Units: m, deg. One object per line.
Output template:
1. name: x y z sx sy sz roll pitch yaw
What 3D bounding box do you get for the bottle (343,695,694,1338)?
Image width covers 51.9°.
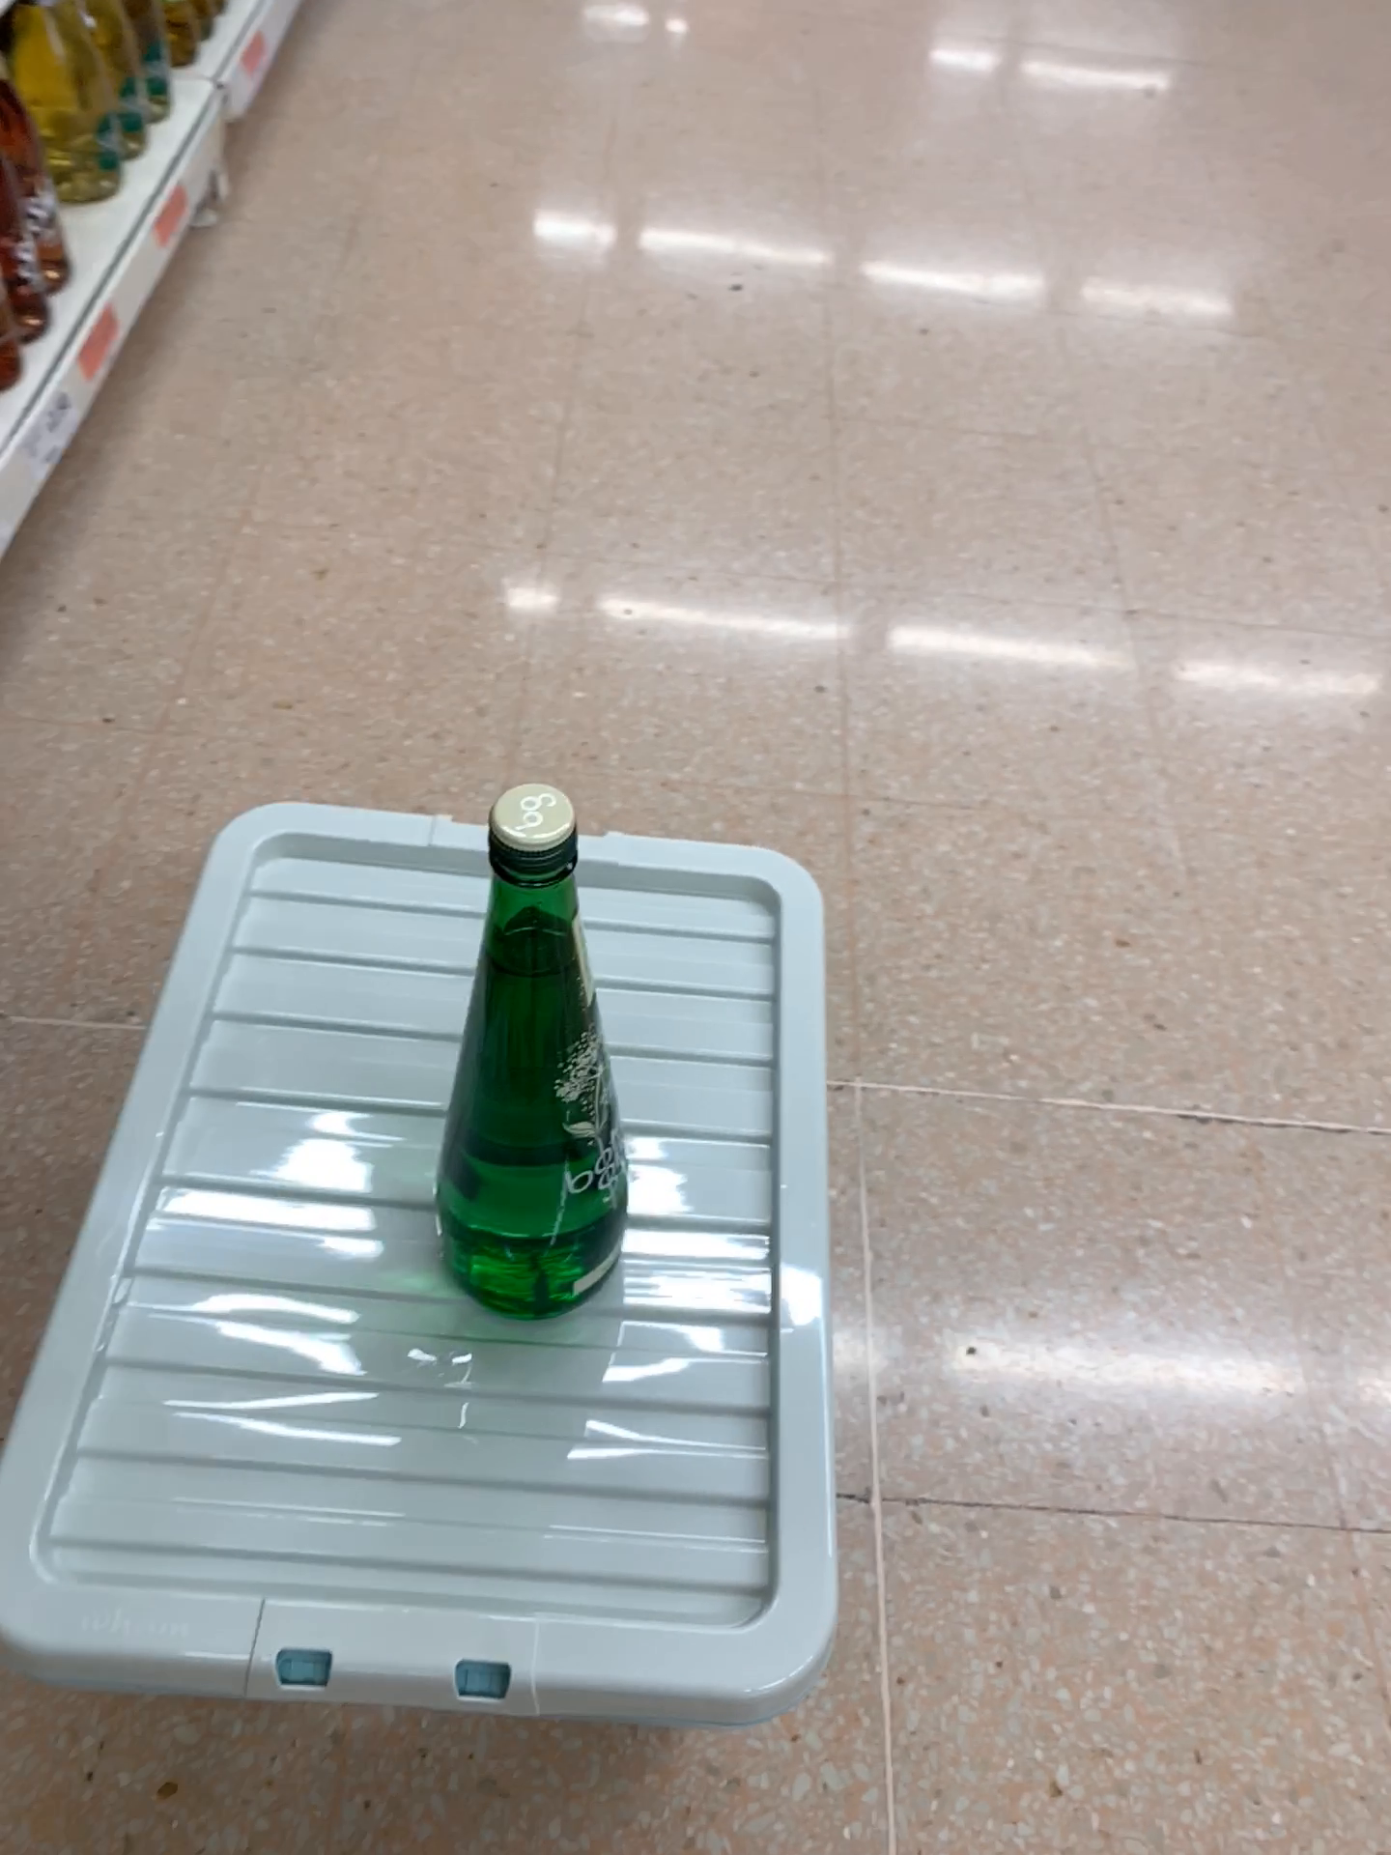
1. bottle: -0.067 0.055 0.565 0.093 0.298 0.085 4 51 -4
